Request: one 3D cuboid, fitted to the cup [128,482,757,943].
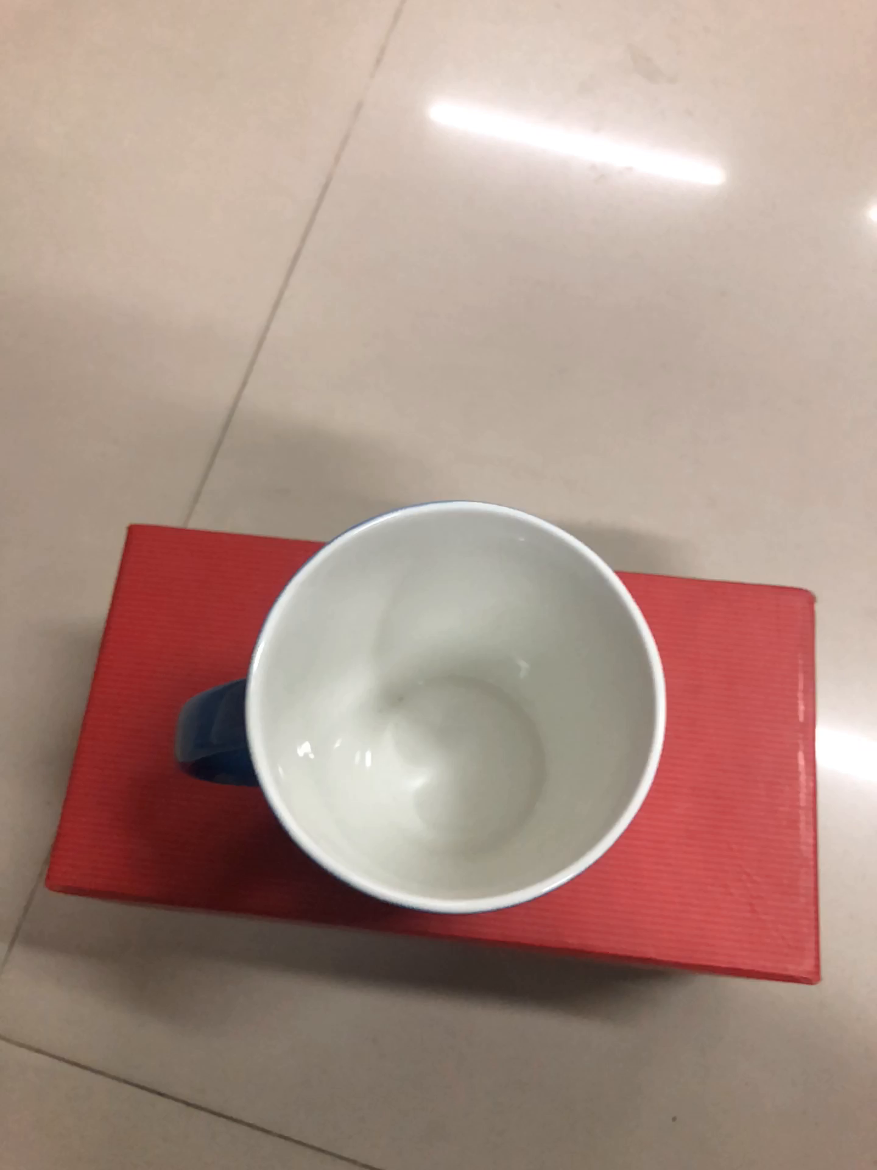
[{"bbox_3d":[-0.001,0.034,0.223,0.110,0.080,0.080,-4,71,0],"label":"cup"}]
